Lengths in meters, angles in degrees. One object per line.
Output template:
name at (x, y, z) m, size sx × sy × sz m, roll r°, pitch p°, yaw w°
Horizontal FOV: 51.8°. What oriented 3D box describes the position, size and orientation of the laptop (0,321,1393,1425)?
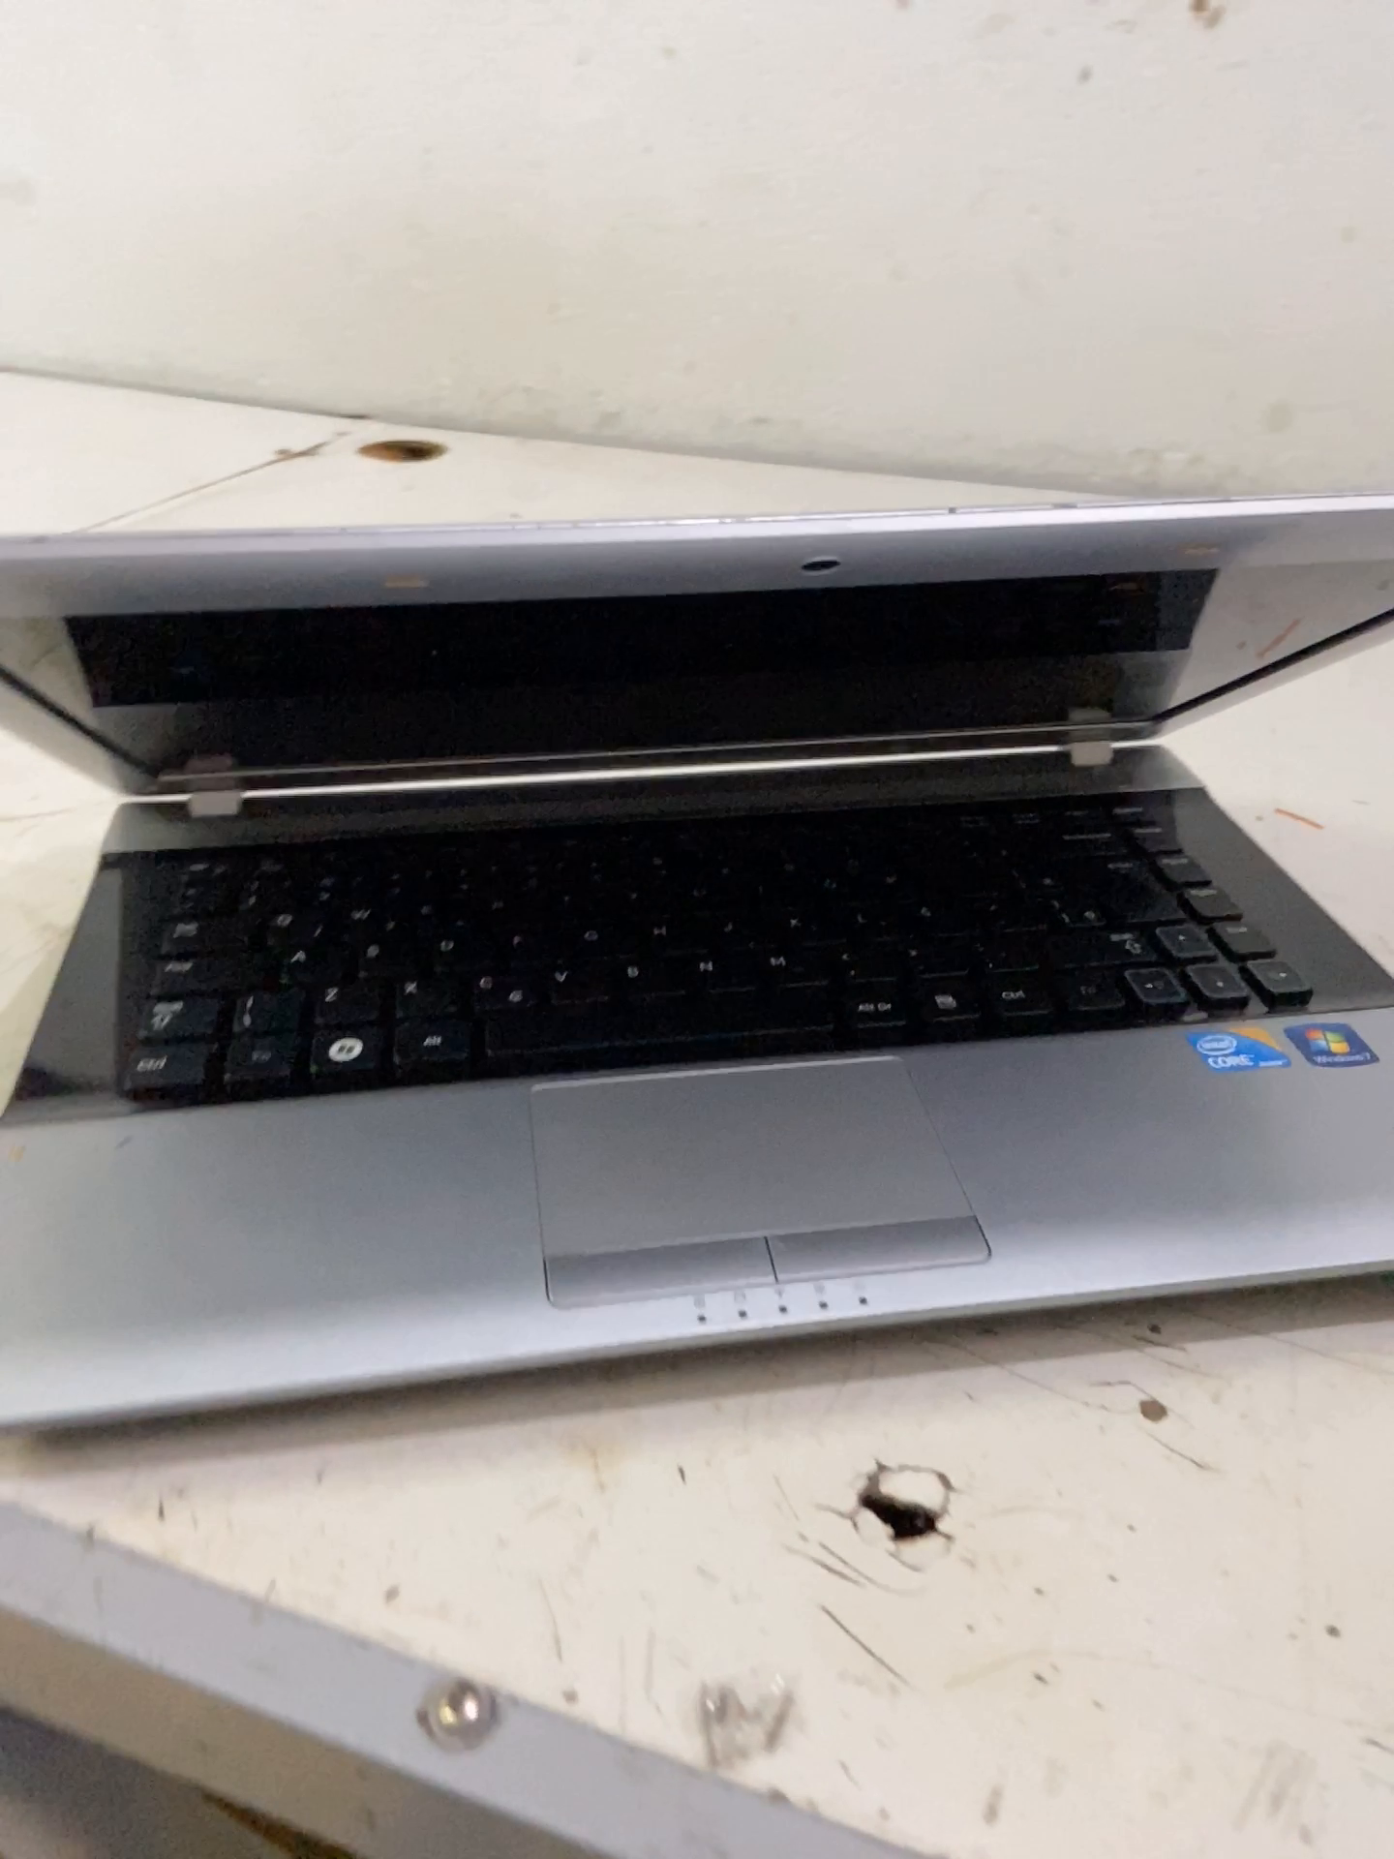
laptop at (0.011, -0.048, 0.330) m, size 0.336 × 0.133 × 0.233 m, roll -4°, pitch 32°, yaw -9°
